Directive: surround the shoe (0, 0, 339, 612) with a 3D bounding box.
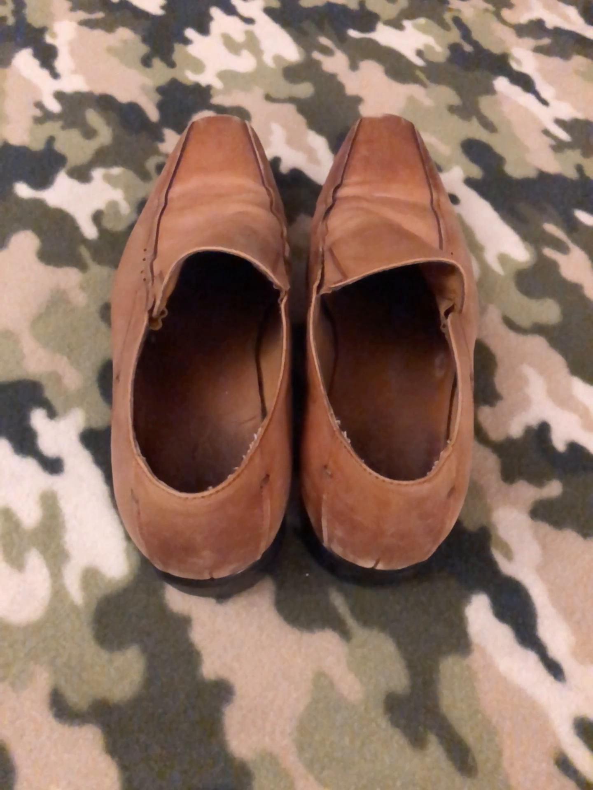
[{"bbox_3d":[-0.050,-0.068,0.339,0.110,0.119,0.322,0,57,-3],"label":"shoe"}]

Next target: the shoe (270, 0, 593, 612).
[{"bbox_3d":[0.056,-0.067,0.350,0.110,0.119,0.321,5,57,0],"label":"shoe"}]
